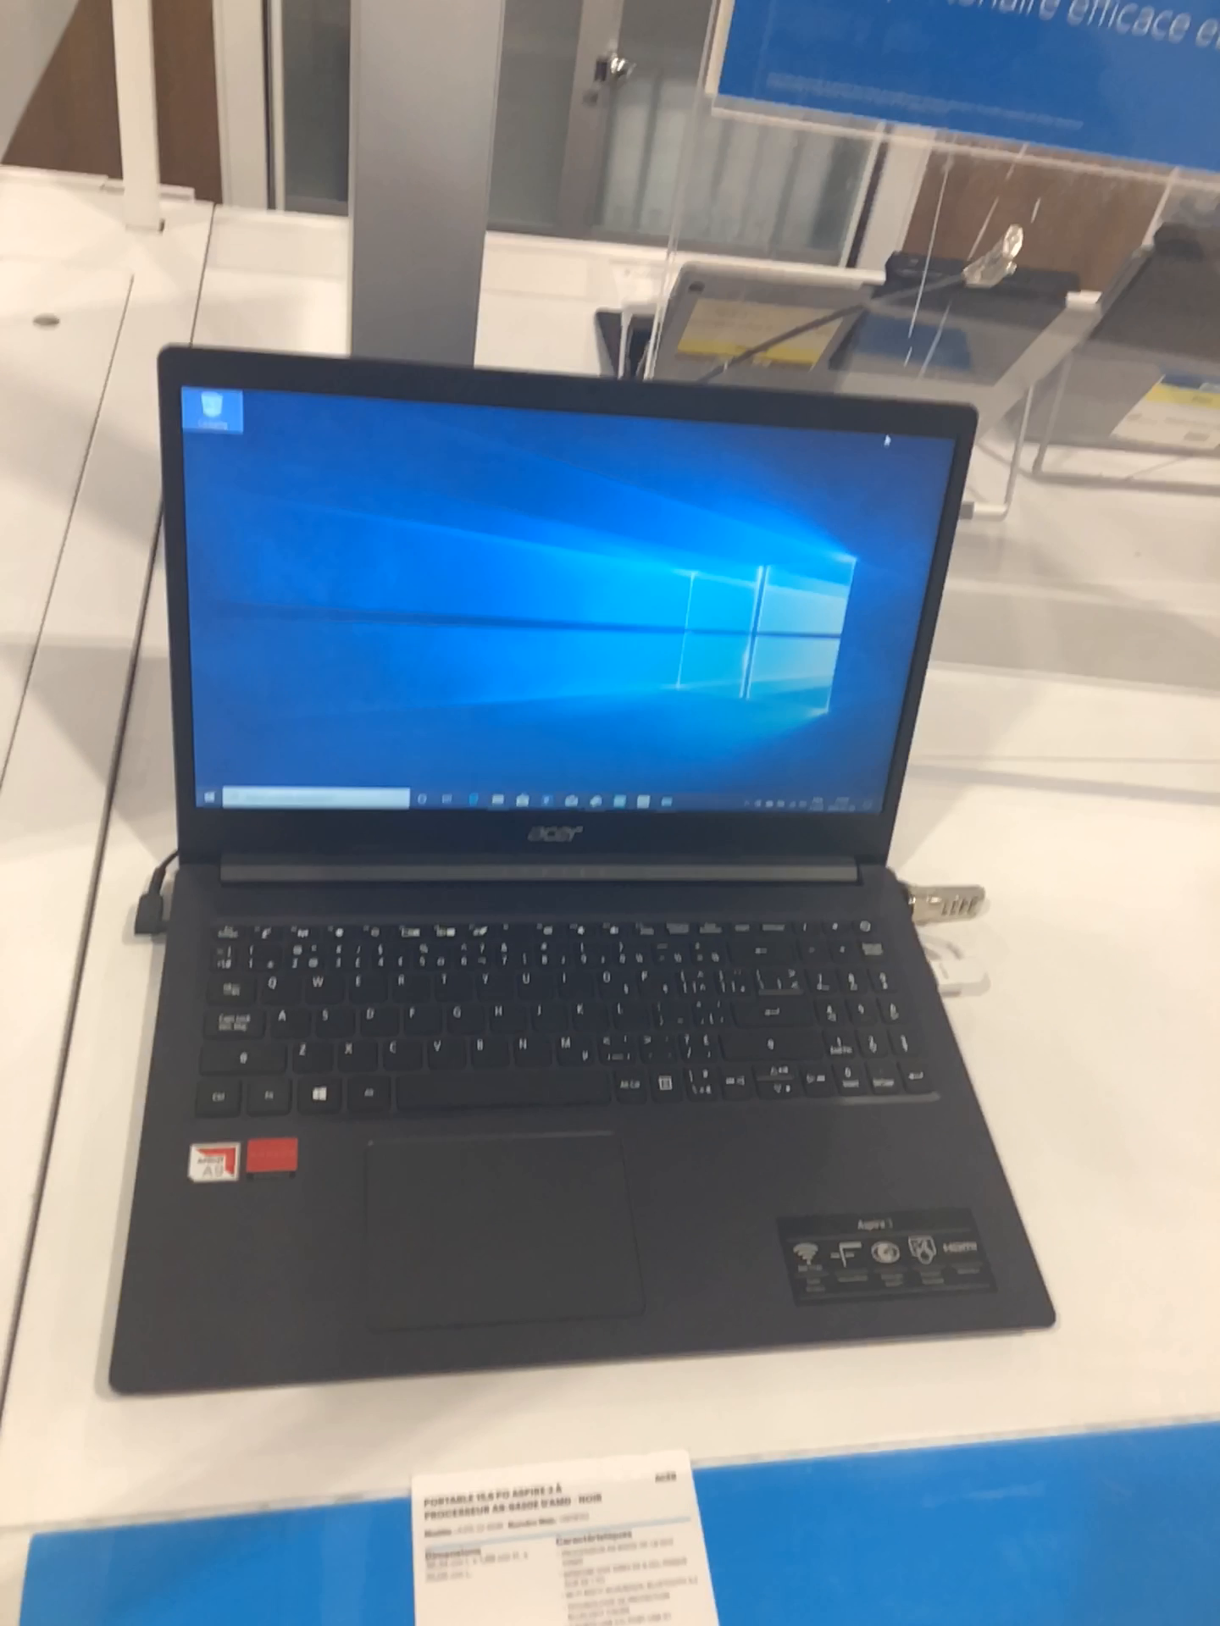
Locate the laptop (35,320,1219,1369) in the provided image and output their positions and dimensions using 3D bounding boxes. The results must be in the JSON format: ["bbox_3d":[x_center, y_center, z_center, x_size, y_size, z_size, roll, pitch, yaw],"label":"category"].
[{"bbox_3d":[-0.004,0.001,0.564,0.367,0.212,0.351,1,47,-11],"label":"laptop"}]
